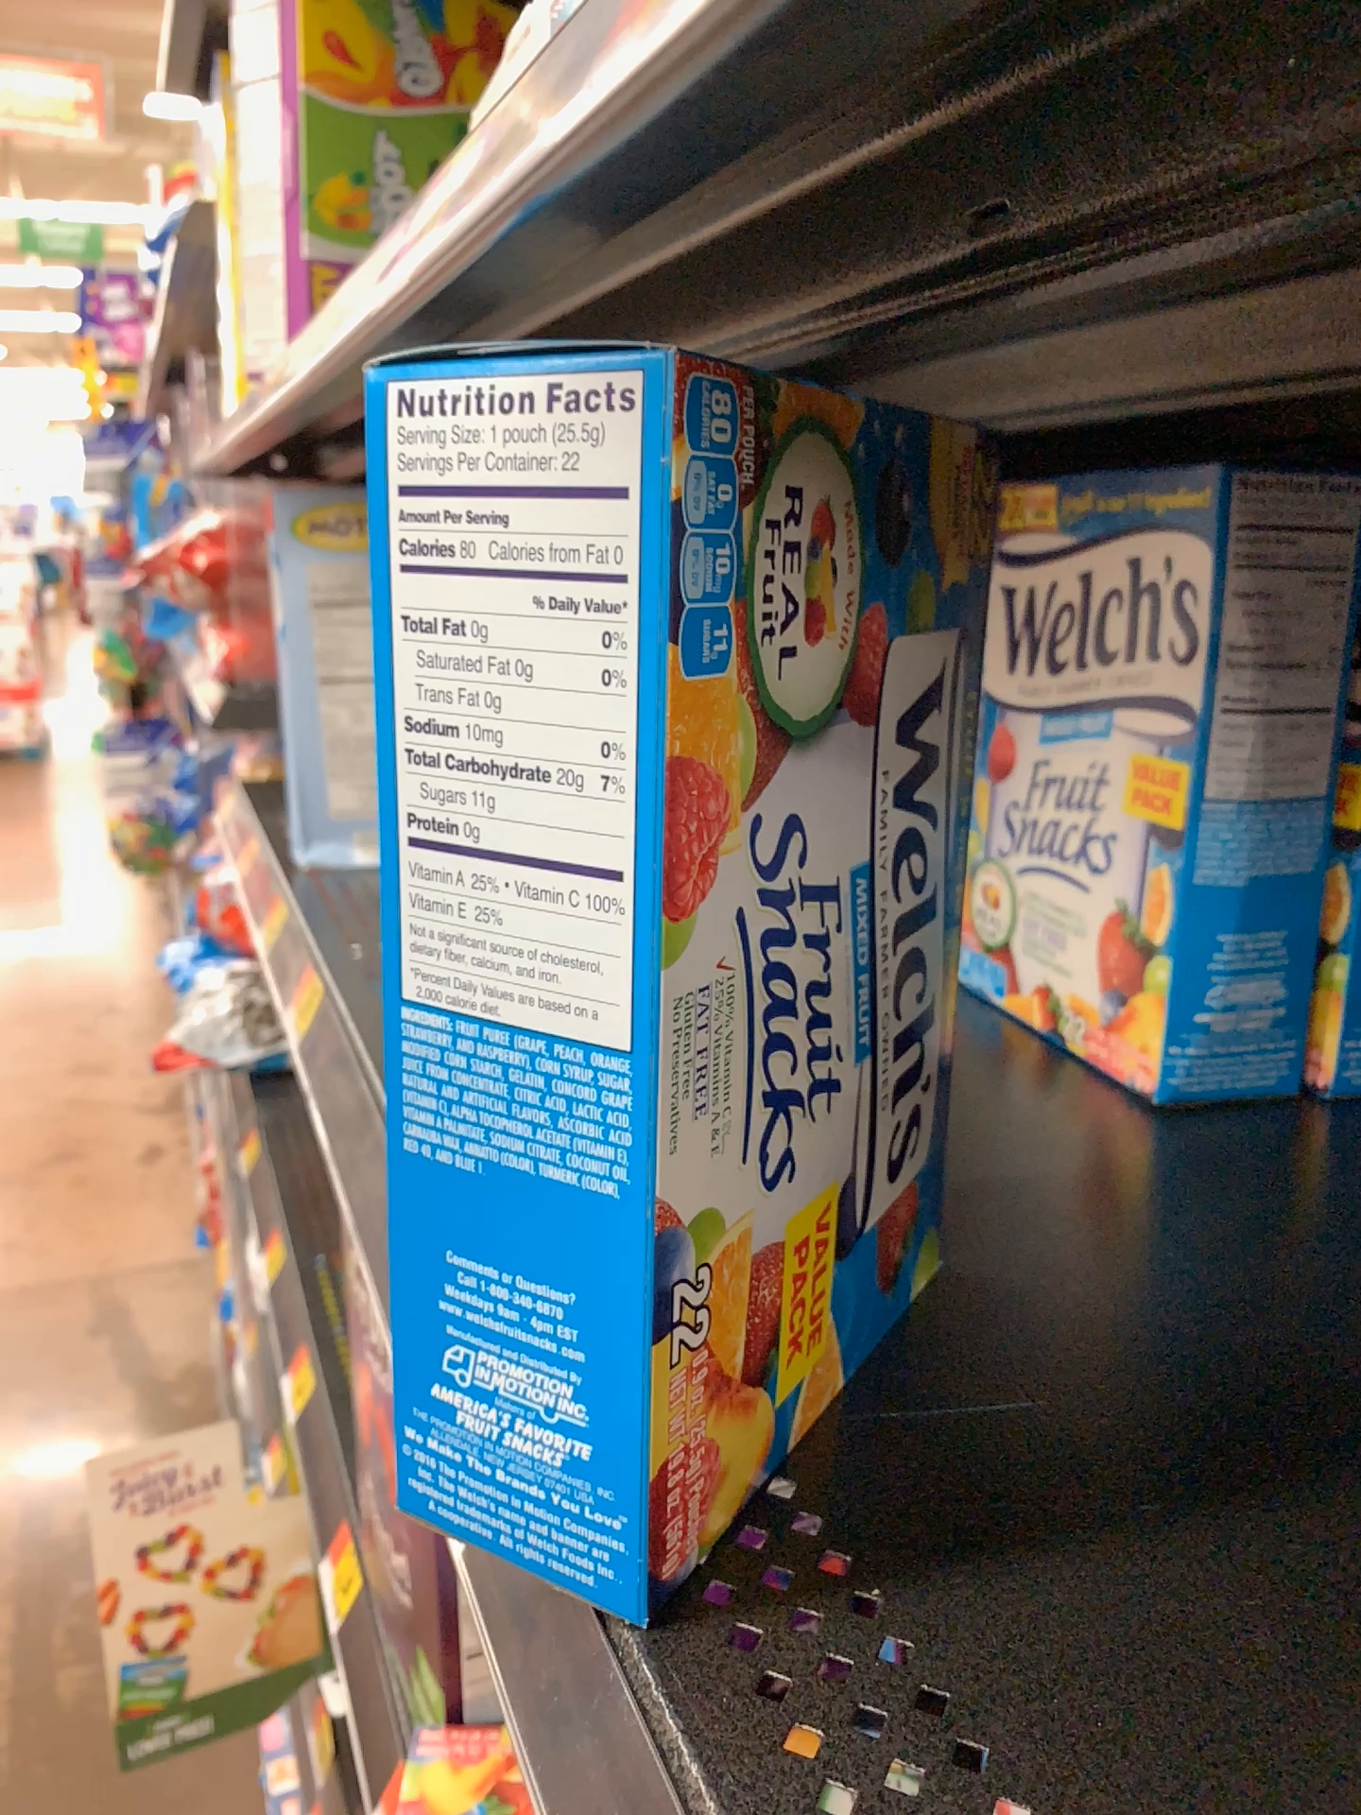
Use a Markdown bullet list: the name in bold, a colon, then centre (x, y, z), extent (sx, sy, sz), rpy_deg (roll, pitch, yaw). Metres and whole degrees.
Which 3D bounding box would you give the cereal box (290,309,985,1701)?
- **cereal box**: centre (0.002, 0.007, 0.310), extent (0.060, 0.229, 0.170), rpy_deg (9, 15, 28)
